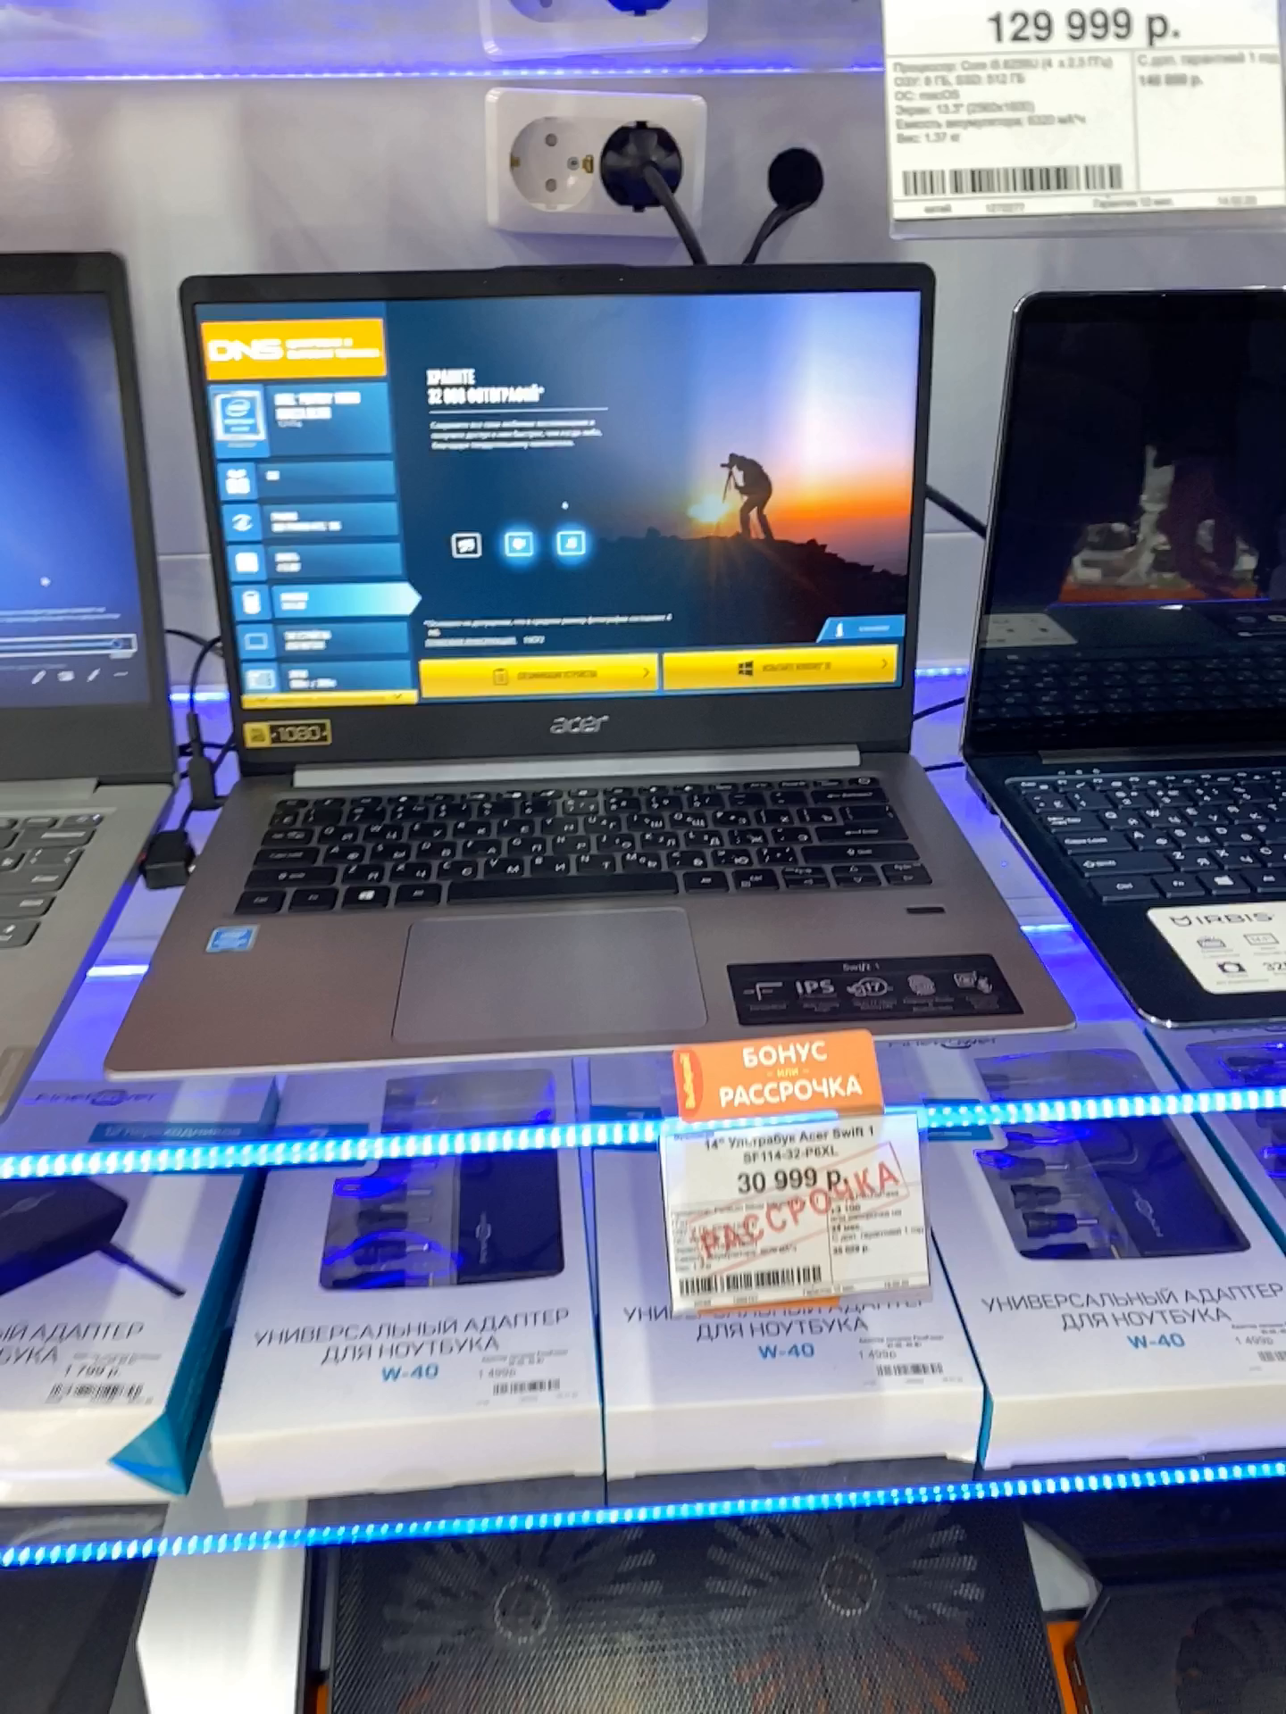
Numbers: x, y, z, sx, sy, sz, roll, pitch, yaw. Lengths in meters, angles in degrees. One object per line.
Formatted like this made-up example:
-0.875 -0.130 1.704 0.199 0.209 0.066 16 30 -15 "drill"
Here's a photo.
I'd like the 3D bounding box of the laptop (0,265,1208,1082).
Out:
-0.022 -0.091 0.489 0.318 0.206 0.258 -3 29 -3 "laptop"
